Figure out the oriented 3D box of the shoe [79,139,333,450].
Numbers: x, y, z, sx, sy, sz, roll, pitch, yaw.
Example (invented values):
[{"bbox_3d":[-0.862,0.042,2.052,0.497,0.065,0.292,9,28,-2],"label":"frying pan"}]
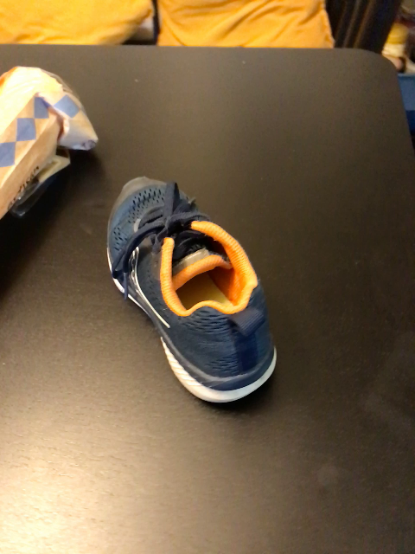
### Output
[{"bbox_3d":[-0.011,0.000,0.306,0.084,0.072,0.187,-22,53,-13],"label":"shoe"}]
